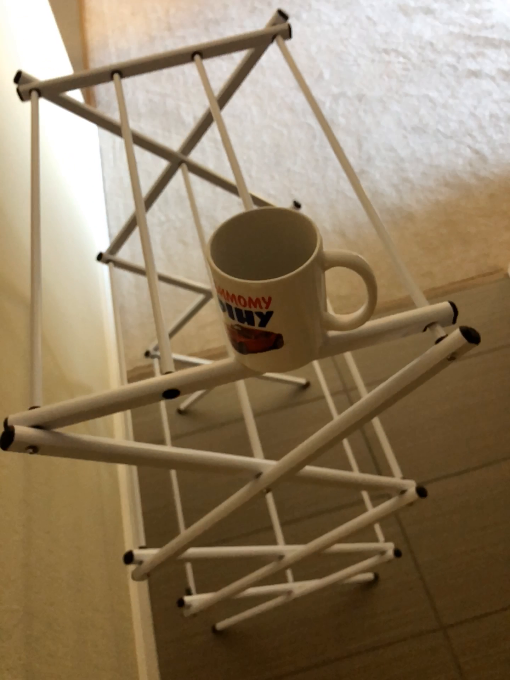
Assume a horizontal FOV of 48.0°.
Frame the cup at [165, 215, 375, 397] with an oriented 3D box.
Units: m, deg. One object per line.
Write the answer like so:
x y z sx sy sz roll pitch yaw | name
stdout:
0.019 -0.021 0.414 0.130 0.090 0.090 -1 49 12 | cup
